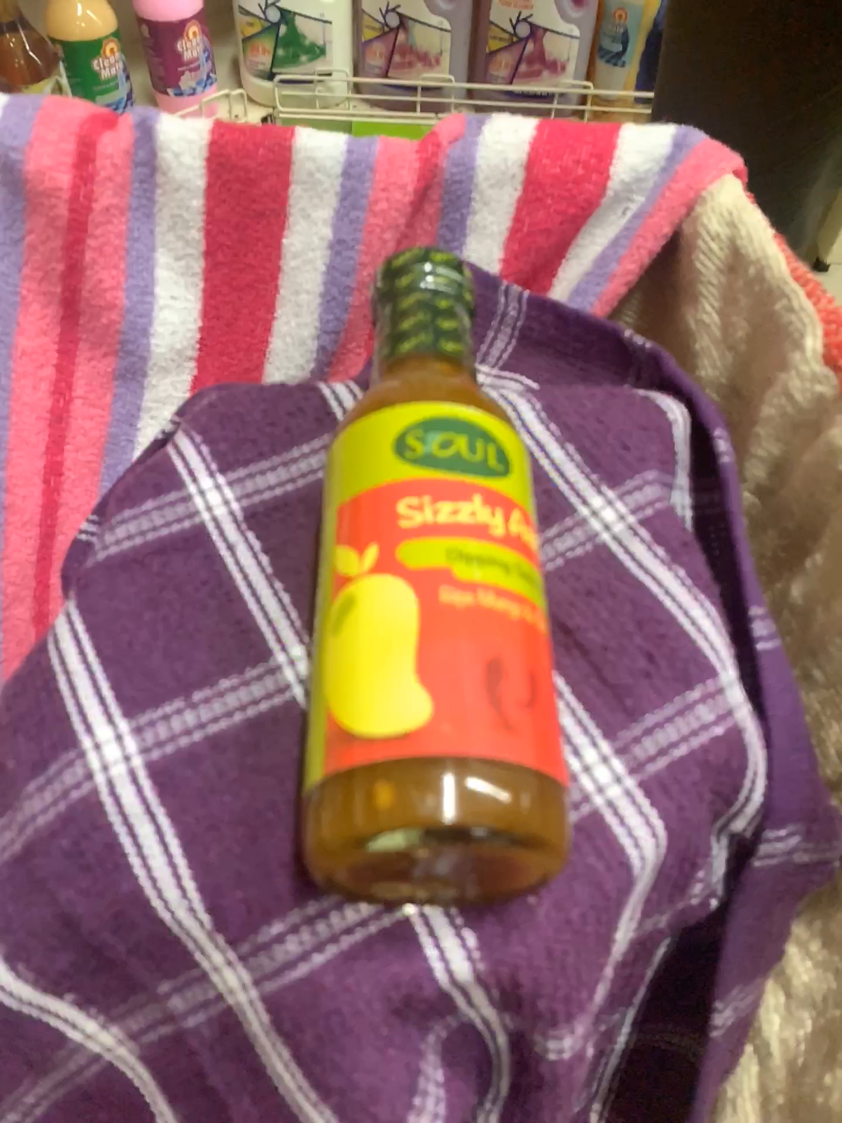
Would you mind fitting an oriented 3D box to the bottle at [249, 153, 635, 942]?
[{"bbox_3d":[0.002,-0.019,0.214,0.060,0.060,0.200,0,55,-1],"label":"bottle"}]
